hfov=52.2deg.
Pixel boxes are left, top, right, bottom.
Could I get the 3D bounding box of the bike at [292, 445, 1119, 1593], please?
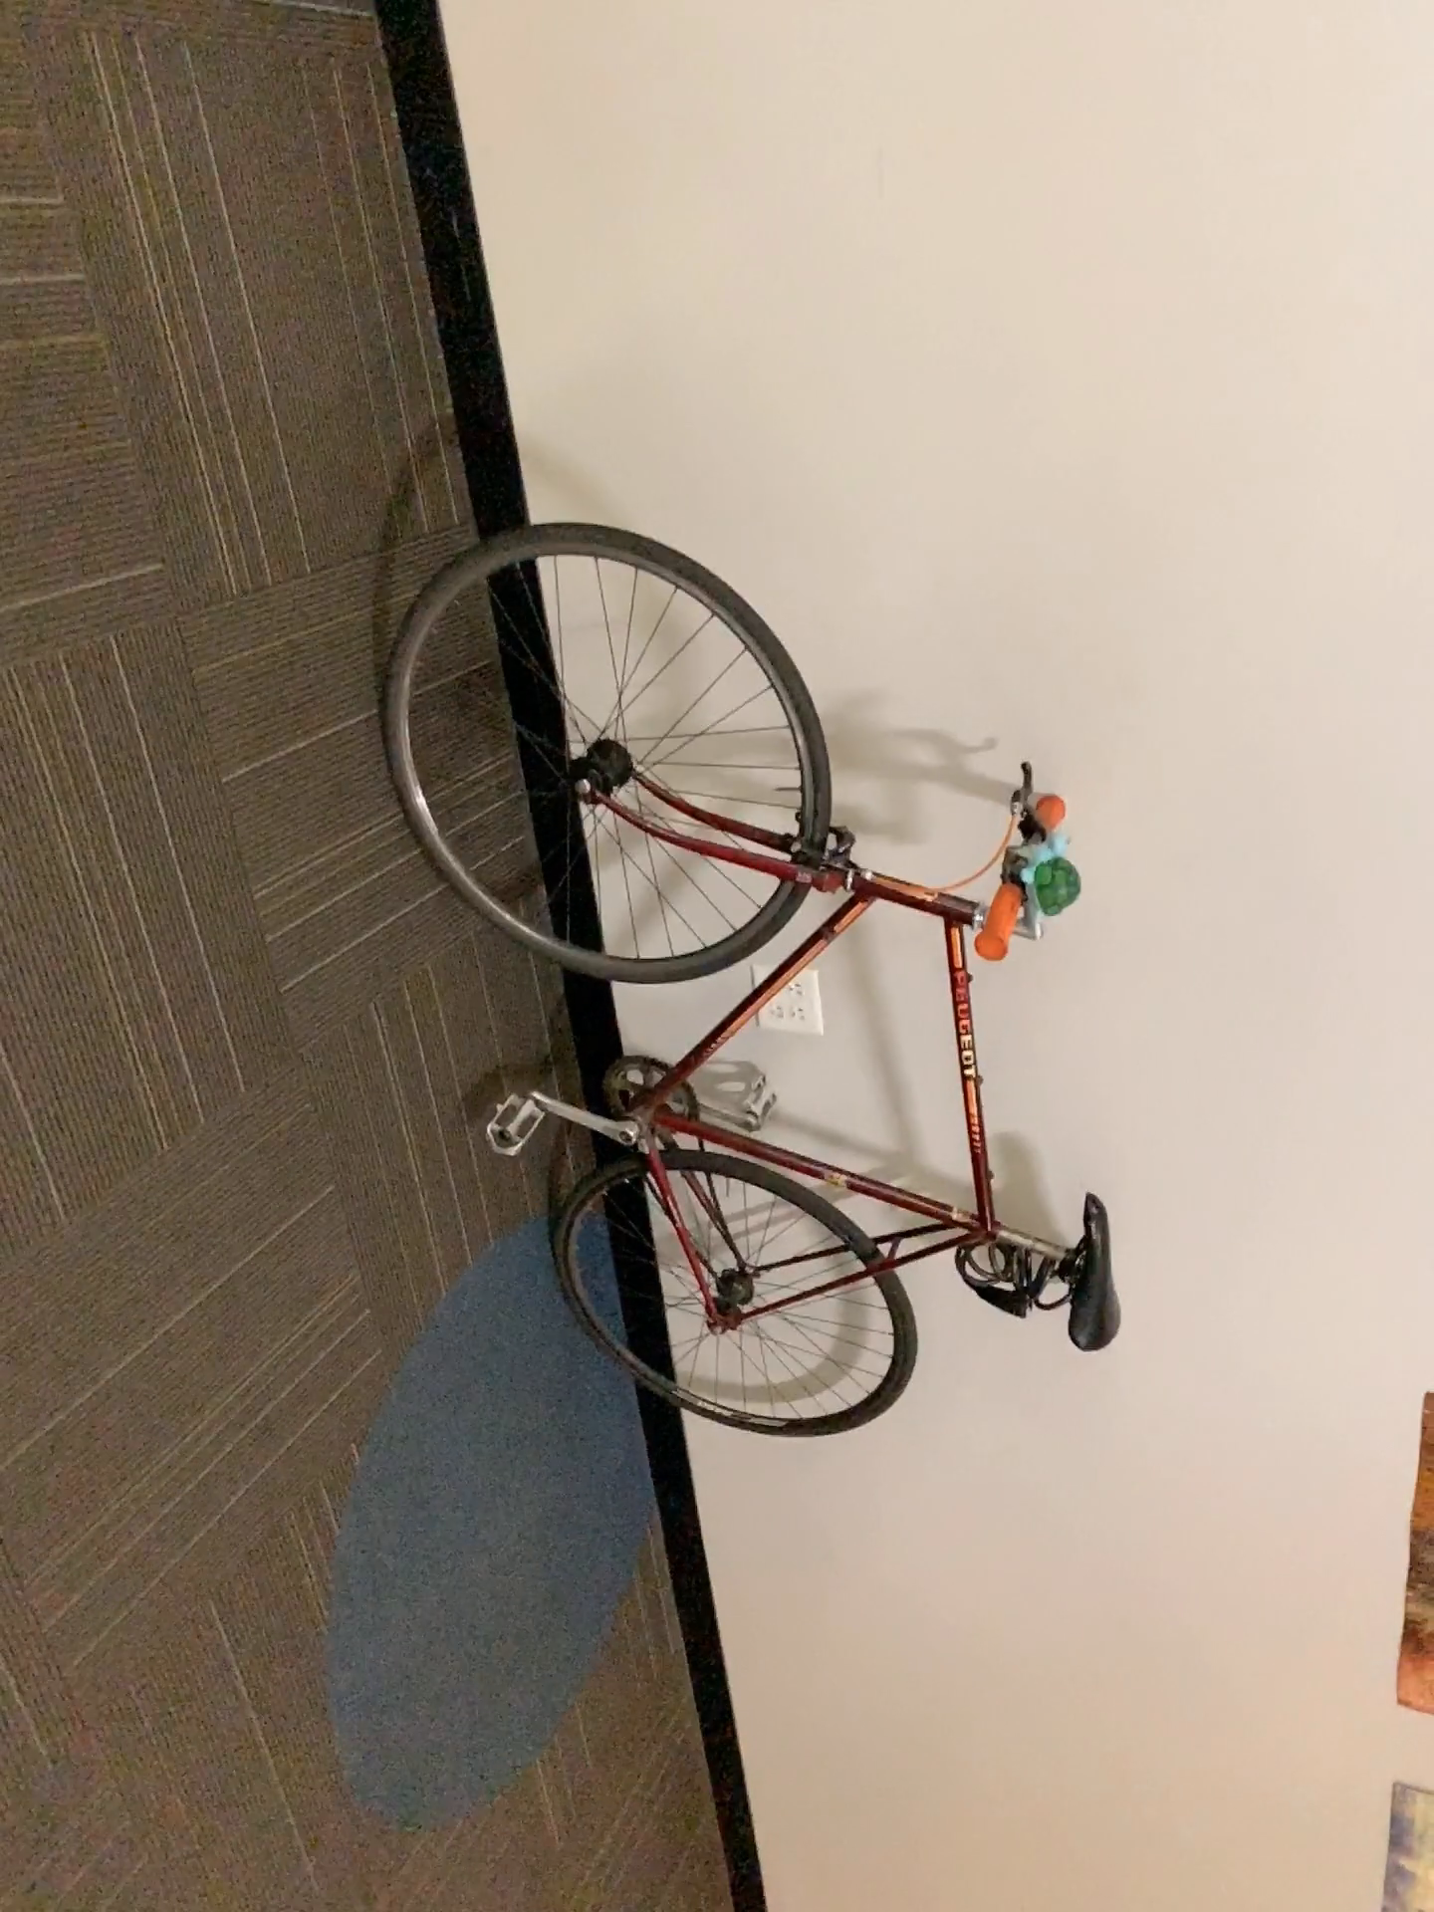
[{"bbox_3d":[0.091,0.148,2.244,0.450,0.909,1.630,-52,140,-48],"label":"bike"}]
